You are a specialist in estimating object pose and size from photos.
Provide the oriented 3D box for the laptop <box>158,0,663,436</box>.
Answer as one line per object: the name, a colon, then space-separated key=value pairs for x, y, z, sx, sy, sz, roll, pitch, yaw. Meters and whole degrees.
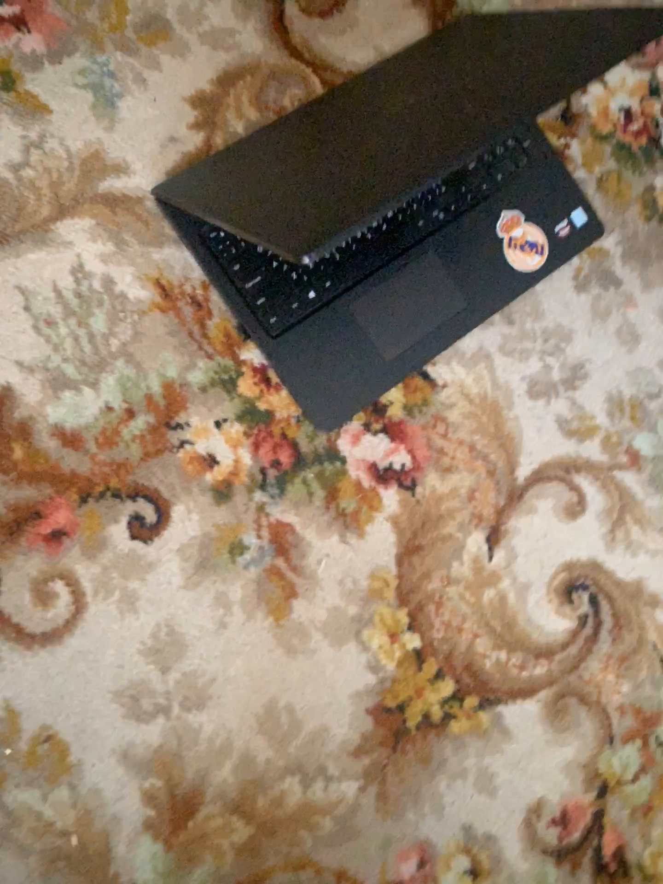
laptop: x=0.091 y=-0.221 z=0.547 sx=0.367 sy=0.194 sz=0.251 roll=-37 pitch=94 yaw=-16
